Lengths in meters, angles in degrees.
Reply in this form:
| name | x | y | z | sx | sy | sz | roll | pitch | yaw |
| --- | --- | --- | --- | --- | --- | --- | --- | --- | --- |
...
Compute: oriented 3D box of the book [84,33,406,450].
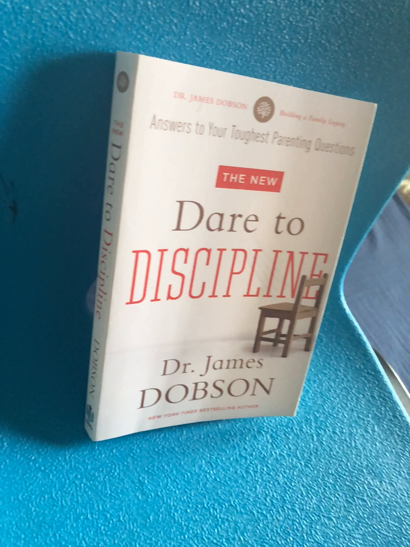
| name | x | y | z | sx | sy | sz | roll | pitch | yaw |
| --- | --- | --- | --- | --- | --- | --- | --- | --- | --- |
| book | 0.017 | -0.008 | 0.258 | 0.150 | 0.199 | 0.040 | 1 | 19 | -24 |
